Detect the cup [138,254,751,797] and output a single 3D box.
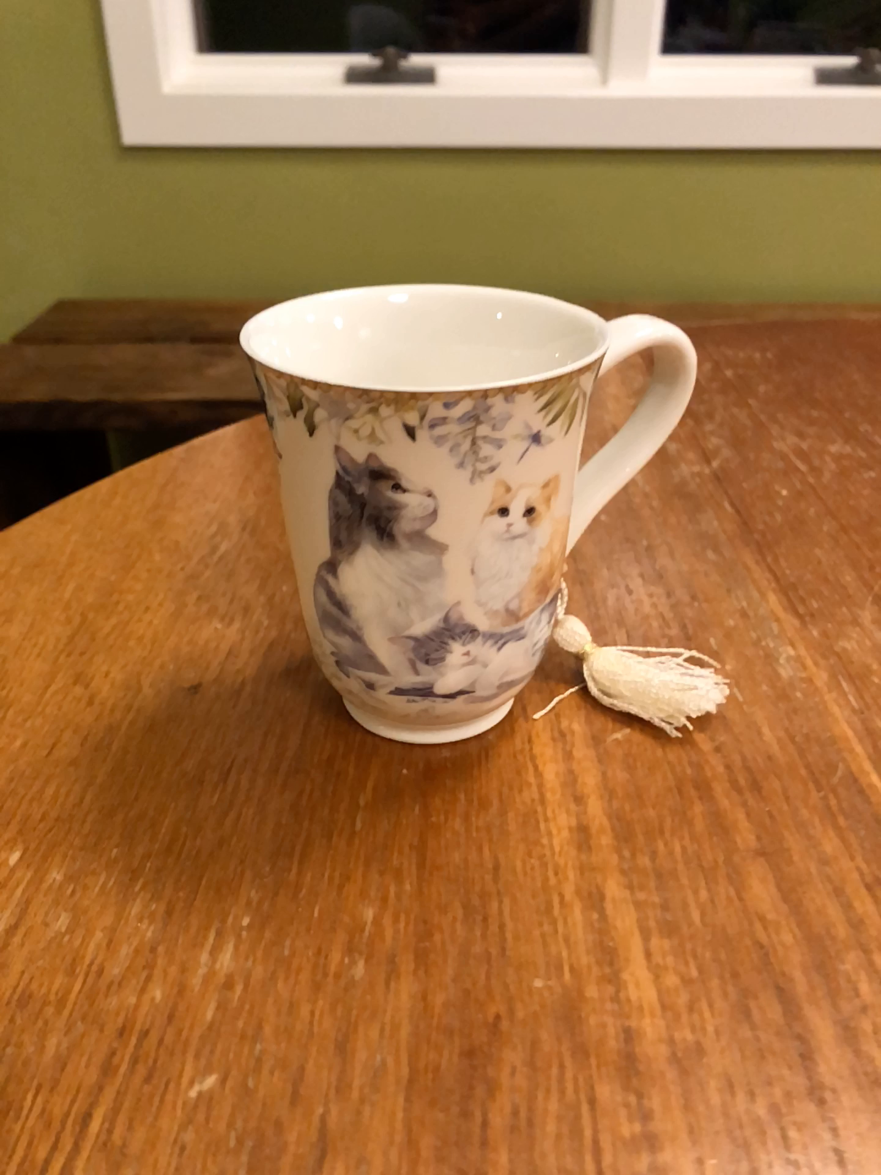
[{"bbox_3d":[0.005,-0.031,0.283,0.136,0.092,0.094,-26,39,-37],"label":"cup"}]
